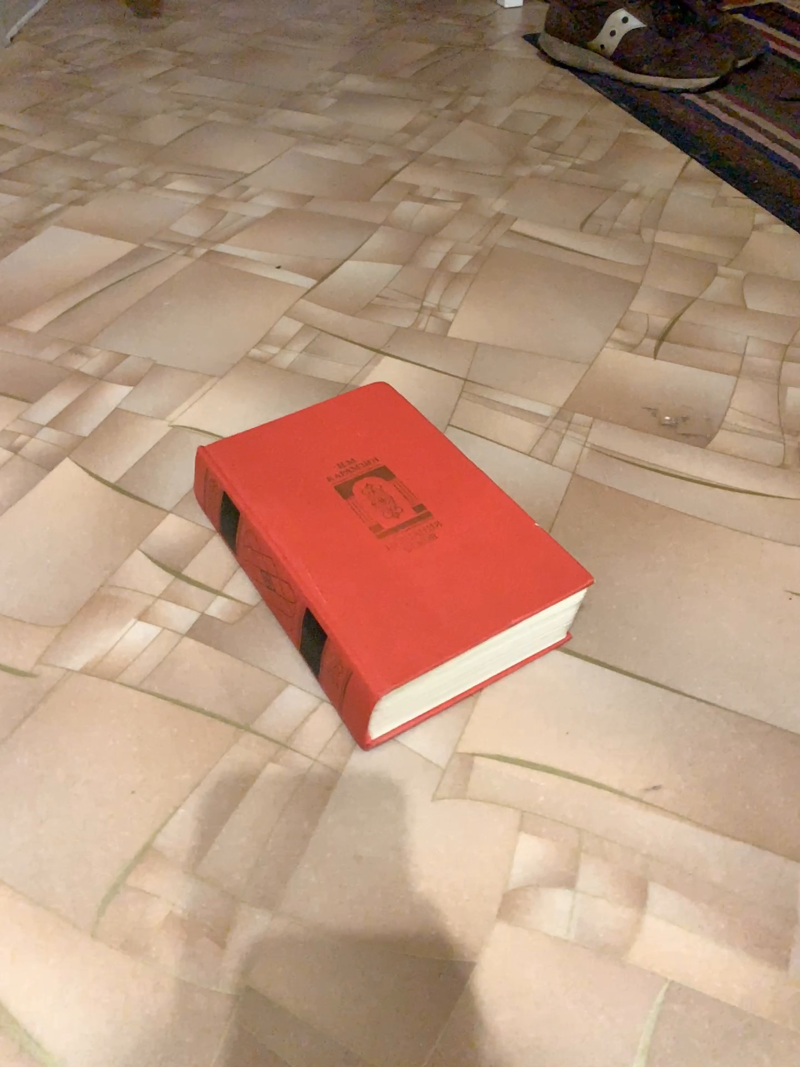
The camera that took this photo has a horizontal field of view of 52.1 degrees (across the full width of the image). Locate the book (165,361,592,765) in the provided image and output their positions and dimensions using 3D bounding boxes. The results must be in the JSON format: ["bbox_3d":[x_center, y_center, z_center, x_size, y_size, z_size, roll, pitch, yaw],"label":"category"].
[{"bbox_3d":[-0.020,0.000,0.445,0.140,0.050,0.201,-26,51,-20],"label":"book"}]
